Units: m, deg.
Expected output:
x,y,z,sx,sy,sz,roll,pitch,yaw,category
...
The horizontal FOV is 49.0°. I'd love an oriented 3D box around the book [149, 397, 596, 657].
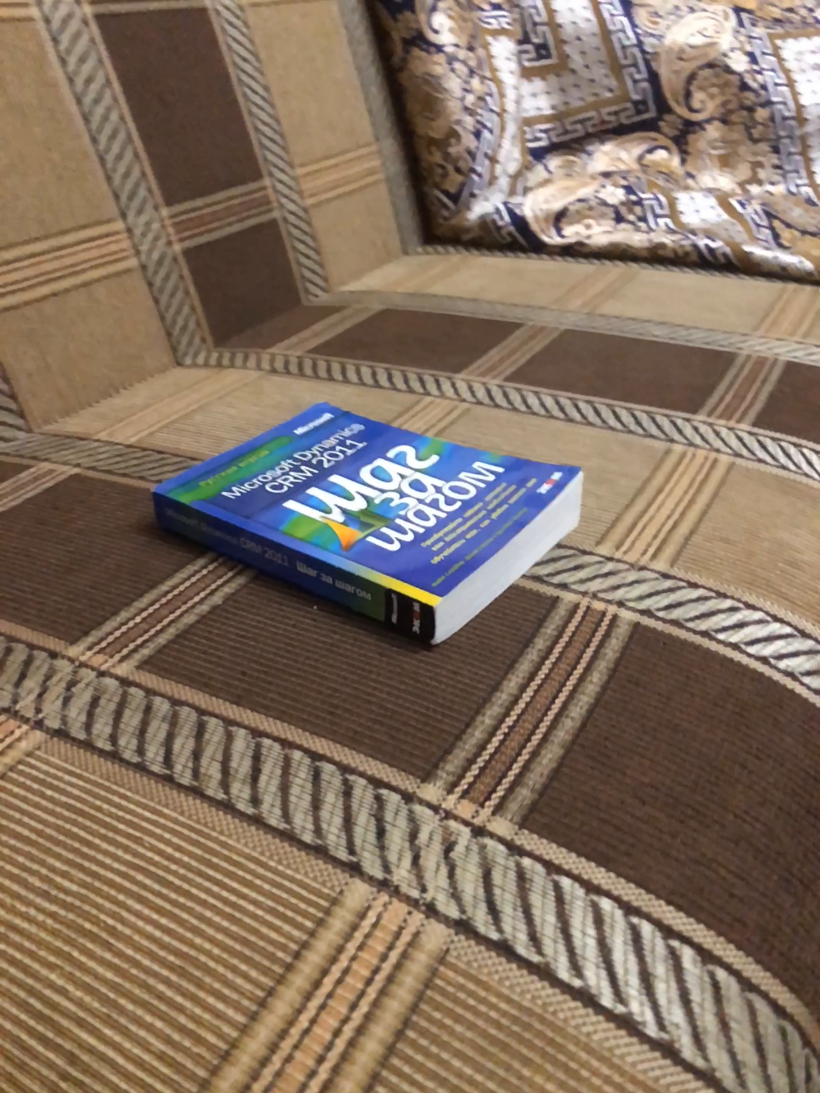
x,y,z,sx,sy,sz,roll,pitch,yaw,category
-0.021,-0.025,0.512,0.200,0.033,0.151,20,37,31,book
